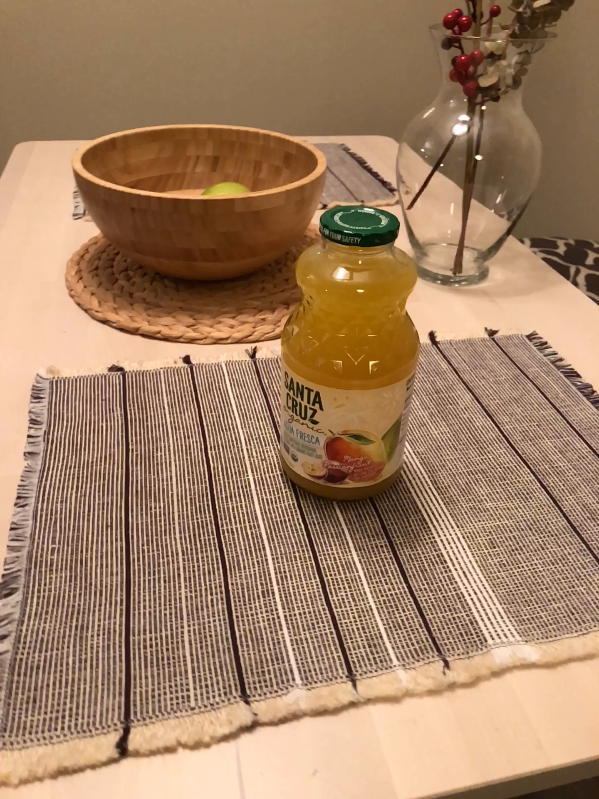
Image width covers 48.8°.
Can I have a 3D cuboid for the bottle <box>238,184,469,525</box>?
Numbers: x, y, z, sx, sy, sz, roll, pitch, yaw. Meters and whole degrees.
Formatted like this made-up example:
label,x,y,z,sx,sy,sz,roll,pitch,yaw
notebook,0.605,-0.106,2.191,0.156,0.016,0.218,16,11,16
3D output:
label,x,y,z,sx,sy,sz,roll,pitch,yaw
bottle,0.030,-0.033,0.457,0.100,0.189,0.100,2,35,-1
